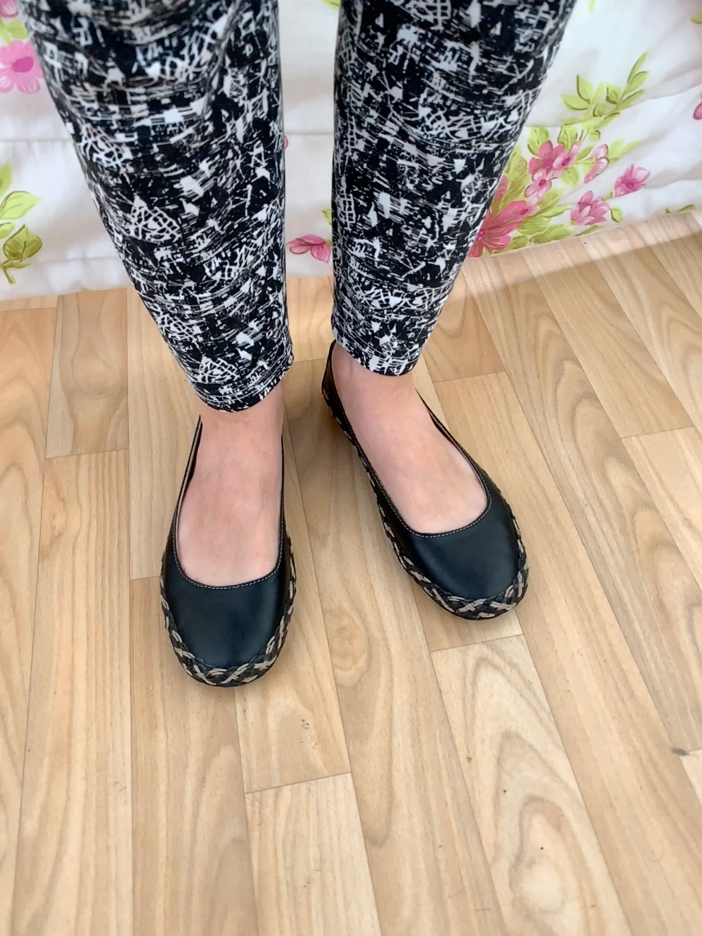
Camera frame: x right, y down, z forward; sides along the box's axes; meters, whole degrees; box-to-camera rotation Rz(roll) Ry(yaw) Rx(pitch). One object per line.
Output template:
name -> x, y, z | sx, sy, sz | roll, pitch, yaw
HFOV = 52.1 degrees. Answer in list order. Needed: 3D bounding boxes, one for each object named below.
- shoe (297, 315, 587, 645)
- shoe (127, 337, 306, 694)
shoe -> 0.057, -0.004, 0.554 | 0.100, 0.060, 0.251 | -22, 57, -15
shoe -> -0.087, 0.023, 0.534 | 0.100, 0.070, 0.266 | -2, 54, 0
